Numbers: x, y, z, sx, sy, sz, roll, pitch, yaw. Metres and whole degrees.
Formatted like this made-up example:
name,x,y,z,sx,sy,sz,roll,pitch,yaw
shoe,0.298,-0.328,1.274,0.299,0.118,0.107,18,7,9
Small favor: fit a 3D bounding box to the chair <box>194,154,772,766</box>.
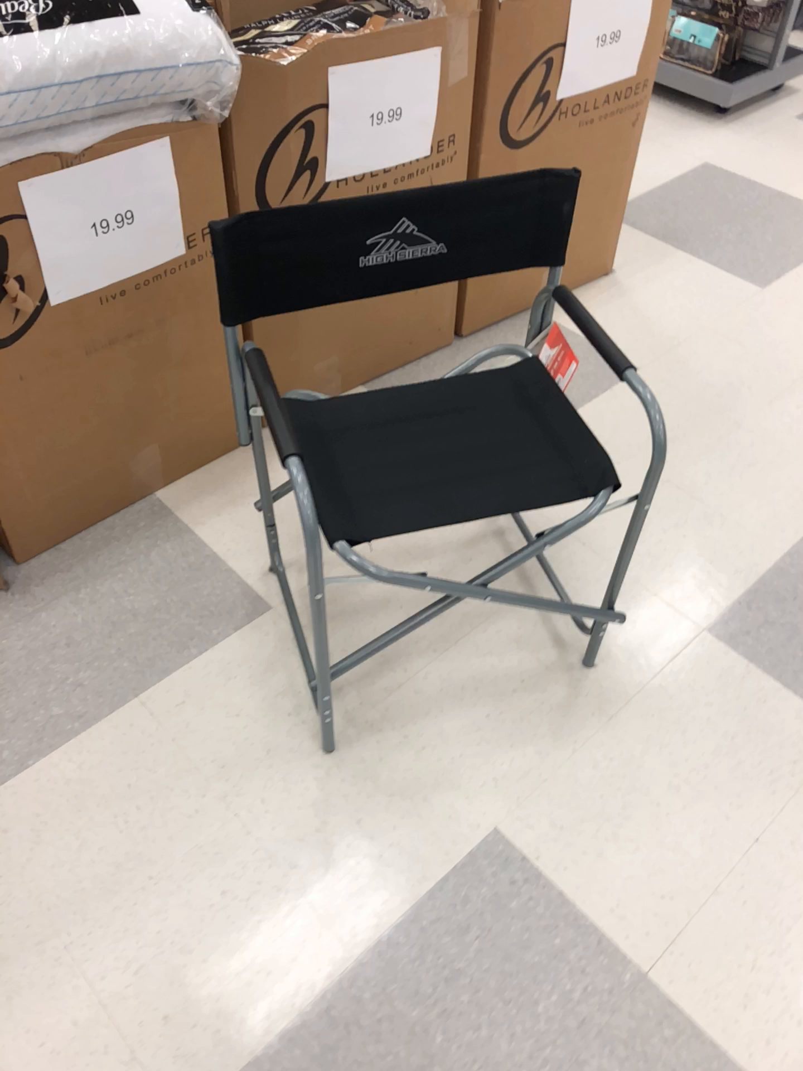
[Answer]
name,x,y,z,sx,sy,sz,roll,pitch,yaw
chair,0.074,-0.114,1.439,0.625,0.736,0.500,-14,49,-15
